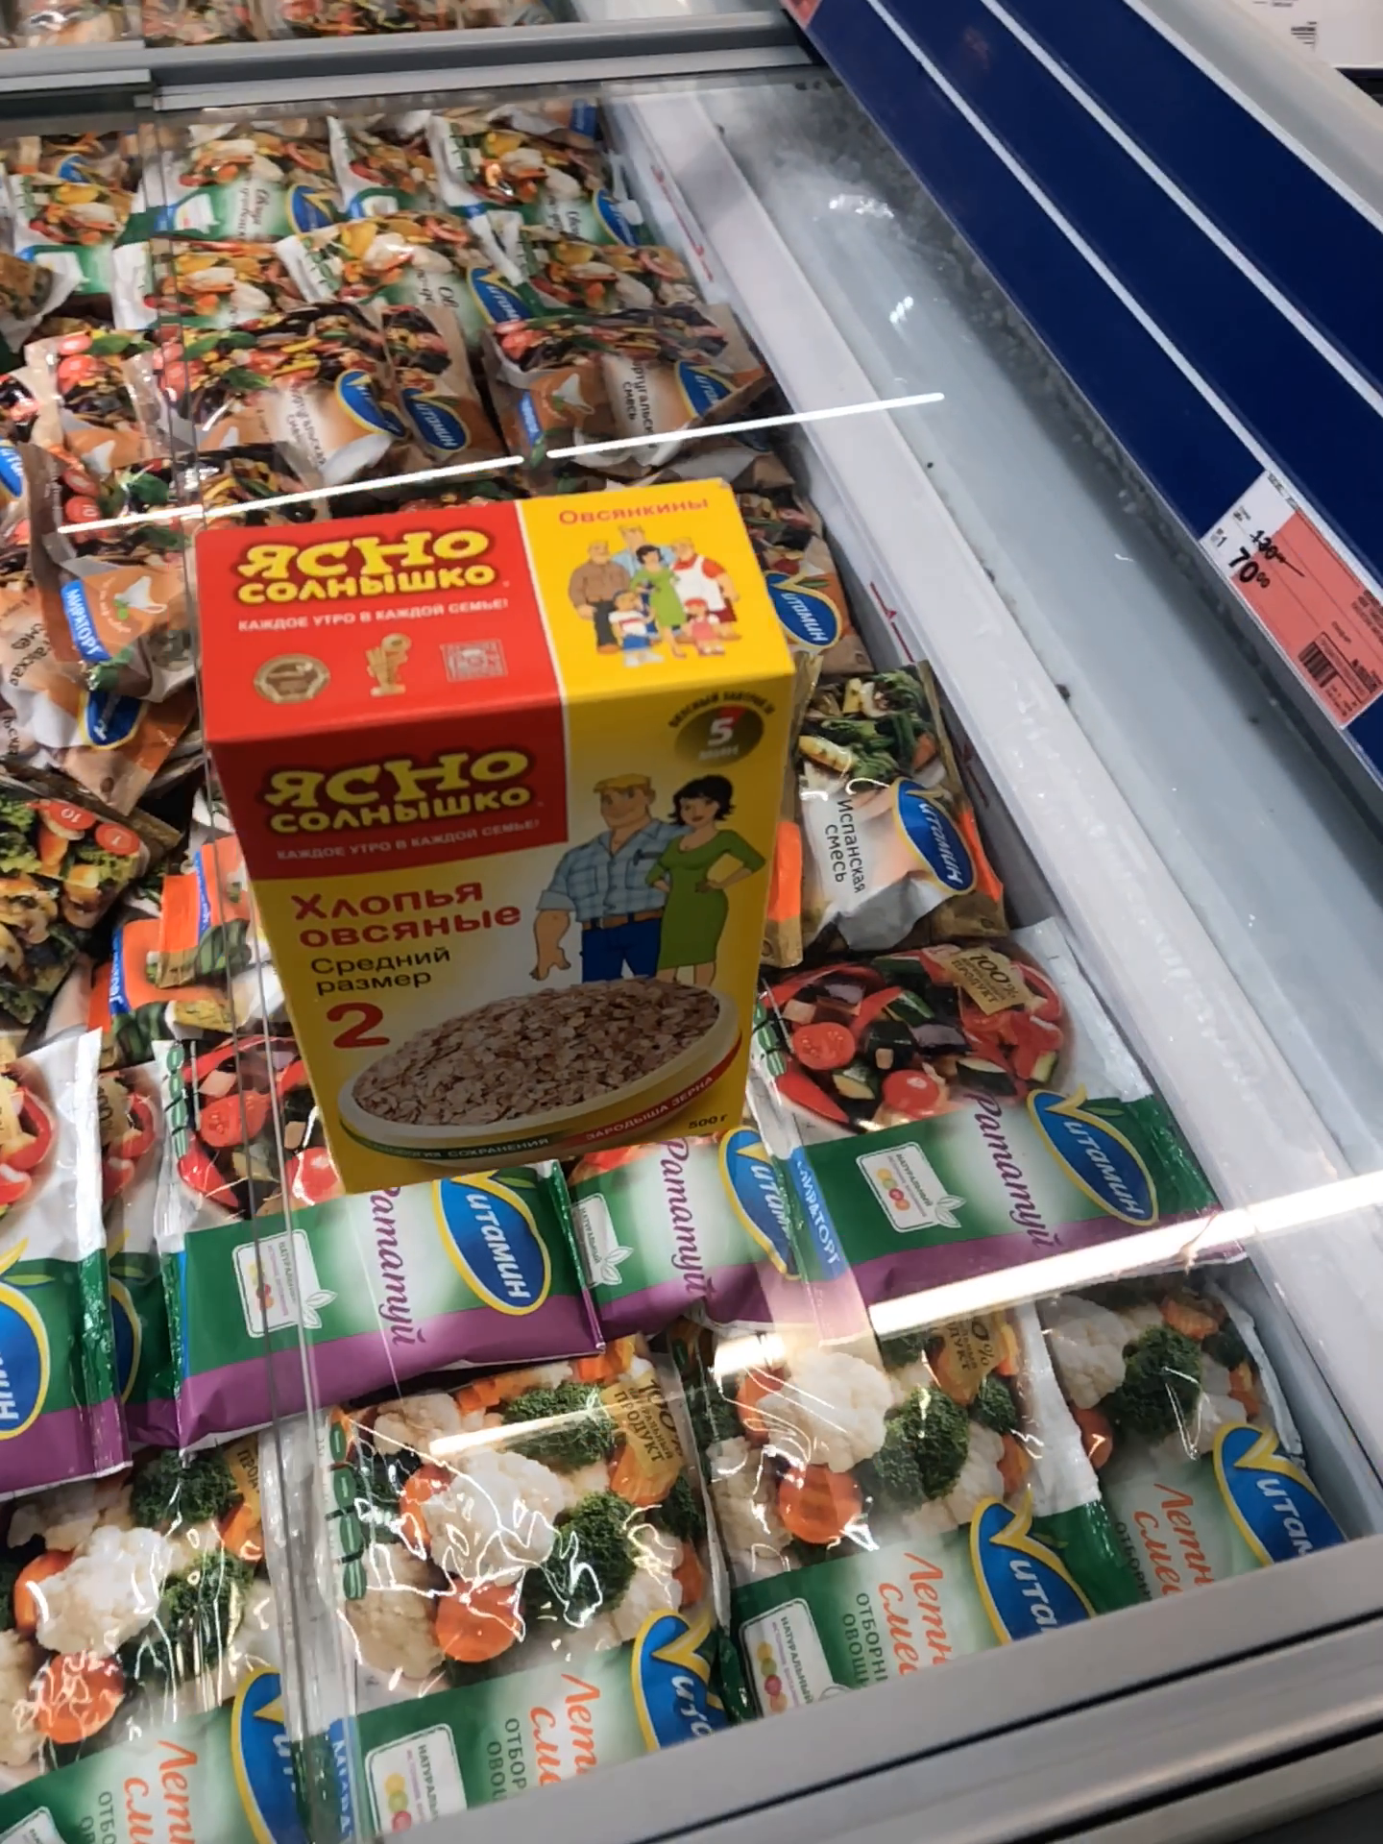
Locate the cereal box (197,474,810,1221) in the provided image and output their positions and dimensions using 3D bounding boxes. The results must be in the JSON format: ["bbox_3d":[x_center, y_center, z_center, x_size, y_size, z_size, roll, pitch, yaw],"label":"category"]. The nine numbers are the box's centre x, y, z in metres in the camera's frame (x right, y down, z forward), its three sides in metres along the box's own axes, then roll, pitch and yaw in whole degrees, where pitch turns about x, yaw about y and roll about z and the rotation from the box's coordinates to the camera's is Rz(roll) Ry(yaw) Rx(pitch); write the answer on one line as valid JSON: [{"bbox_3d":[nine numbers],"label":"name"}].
[{"bbox_3d":[-0.046,-0.008,0.401,0.120,0.199,0.070,-9,54,-10],"label":"cereal box"}]
